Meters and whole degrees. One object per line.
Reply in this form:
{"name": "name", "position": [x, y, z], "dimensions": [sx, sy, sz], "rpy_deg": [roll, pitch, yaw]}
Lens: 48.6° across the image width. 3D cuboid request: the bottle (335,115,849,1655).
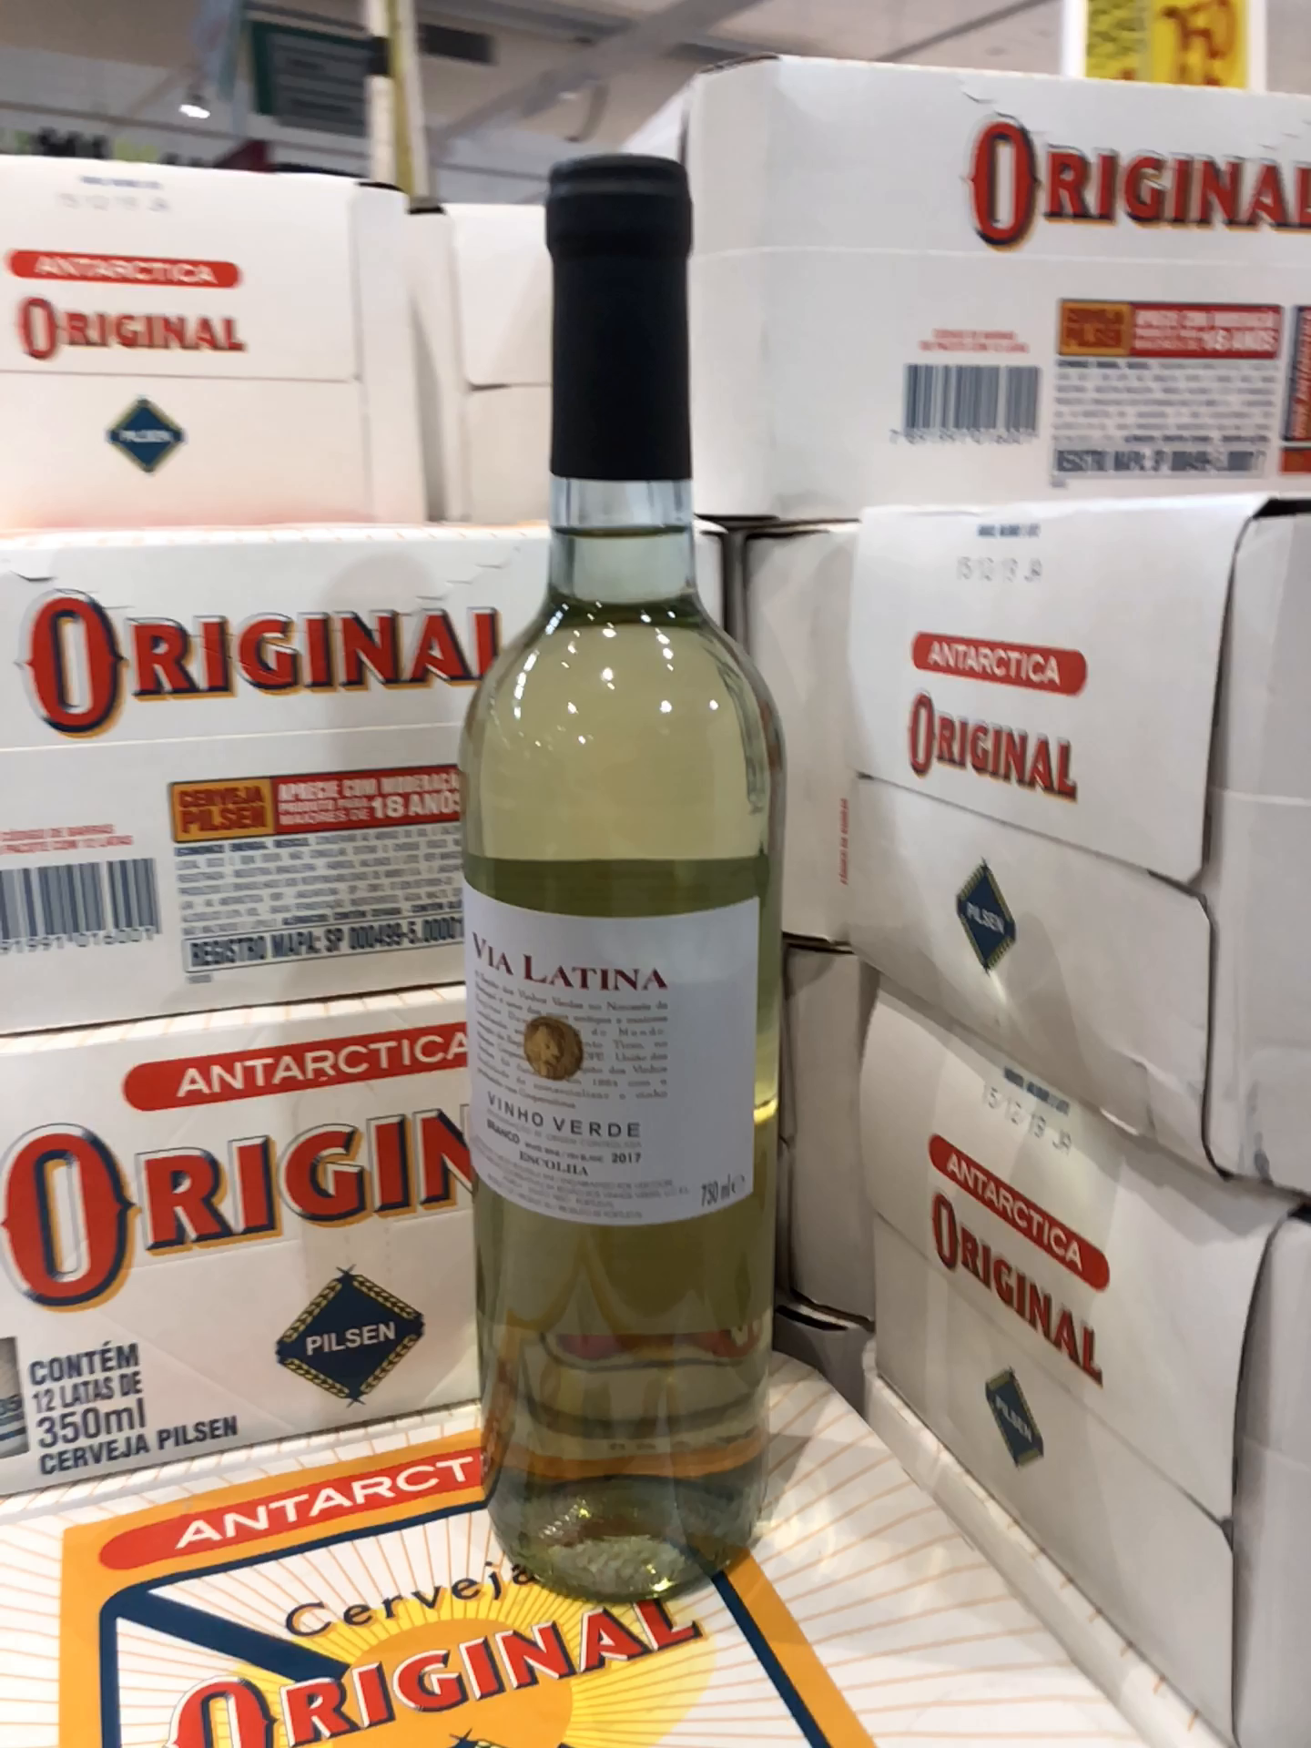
{"name": "bottle", "position": [-0.012, 0.008, 0.332], "dimensions": [0.080, 0.309, 0.070], "rpy_deg": [8, 15, 29]}
